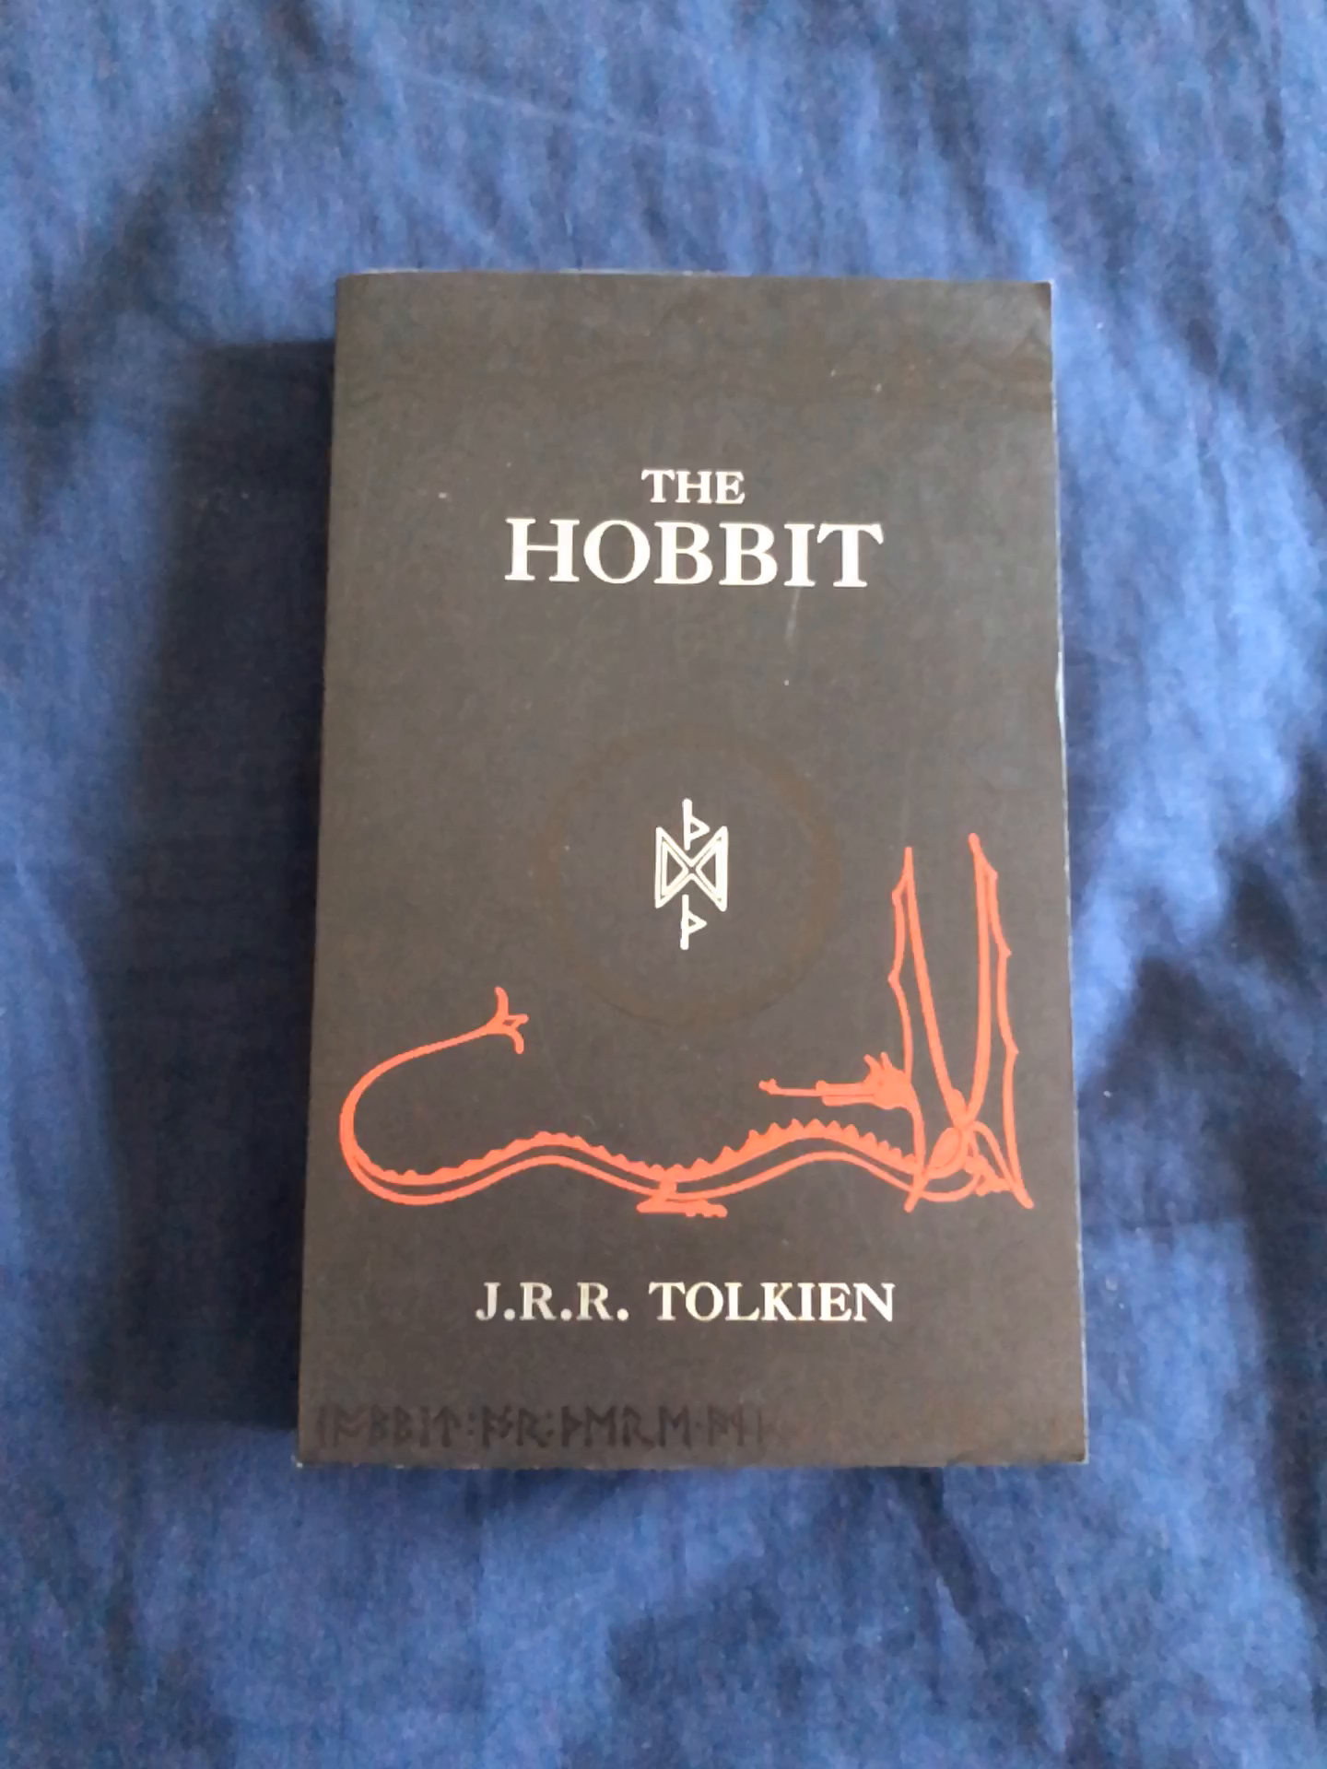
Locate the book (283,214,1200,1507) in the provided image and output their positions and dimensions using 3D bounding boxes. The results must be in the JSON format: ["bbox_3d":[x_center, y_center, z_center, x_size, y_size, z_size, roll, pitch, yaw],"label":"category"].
[{"bbox_3d":[0.010,-0.006,0.225,0.120,0.040,0.180,1,82,-3],"label":"book"}]
